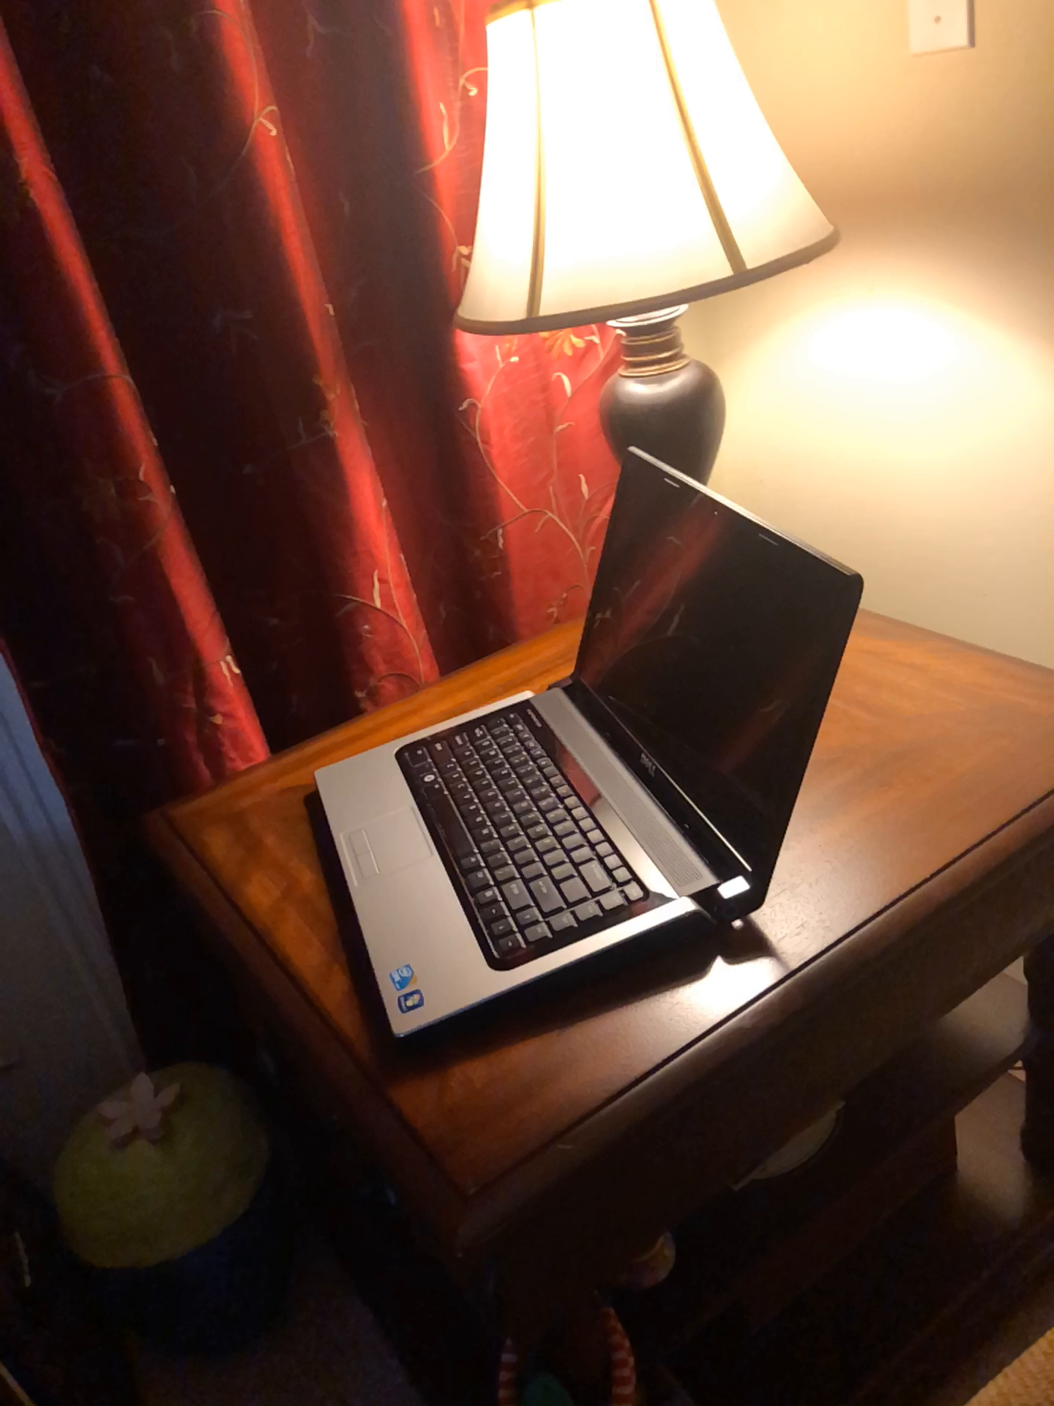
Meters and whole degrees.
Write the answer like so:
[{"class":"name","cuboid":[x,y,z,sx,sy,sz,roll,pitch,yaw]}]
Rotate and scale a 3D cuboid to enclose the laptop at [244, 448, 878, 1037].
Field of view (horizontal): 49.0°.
[{"class":"laptop","cuboid":[0.005,-0.008,0.872,0.350,0.204,0.364,-18,28,-11]}]
